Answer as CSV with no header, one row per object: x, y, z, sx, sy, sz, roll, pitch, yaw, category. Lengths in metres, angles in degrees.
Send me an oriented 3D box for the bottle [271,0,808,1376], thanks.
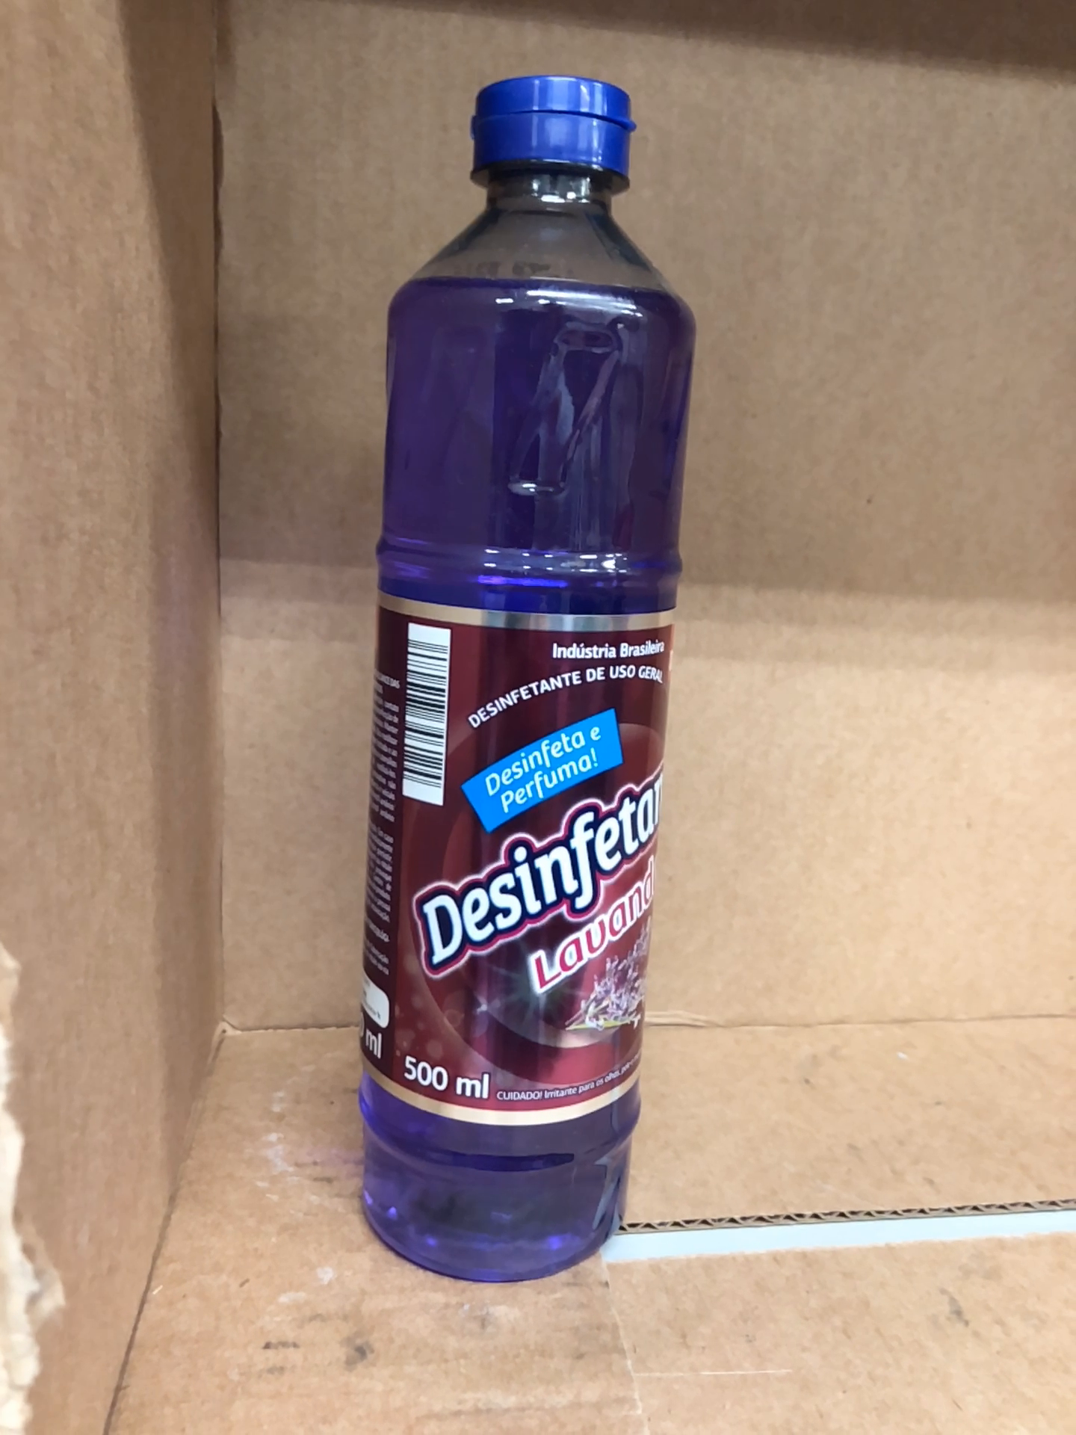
-0.007,-0.005,0.247,0.070,0.239,0.070,3,12,-1,bottle
